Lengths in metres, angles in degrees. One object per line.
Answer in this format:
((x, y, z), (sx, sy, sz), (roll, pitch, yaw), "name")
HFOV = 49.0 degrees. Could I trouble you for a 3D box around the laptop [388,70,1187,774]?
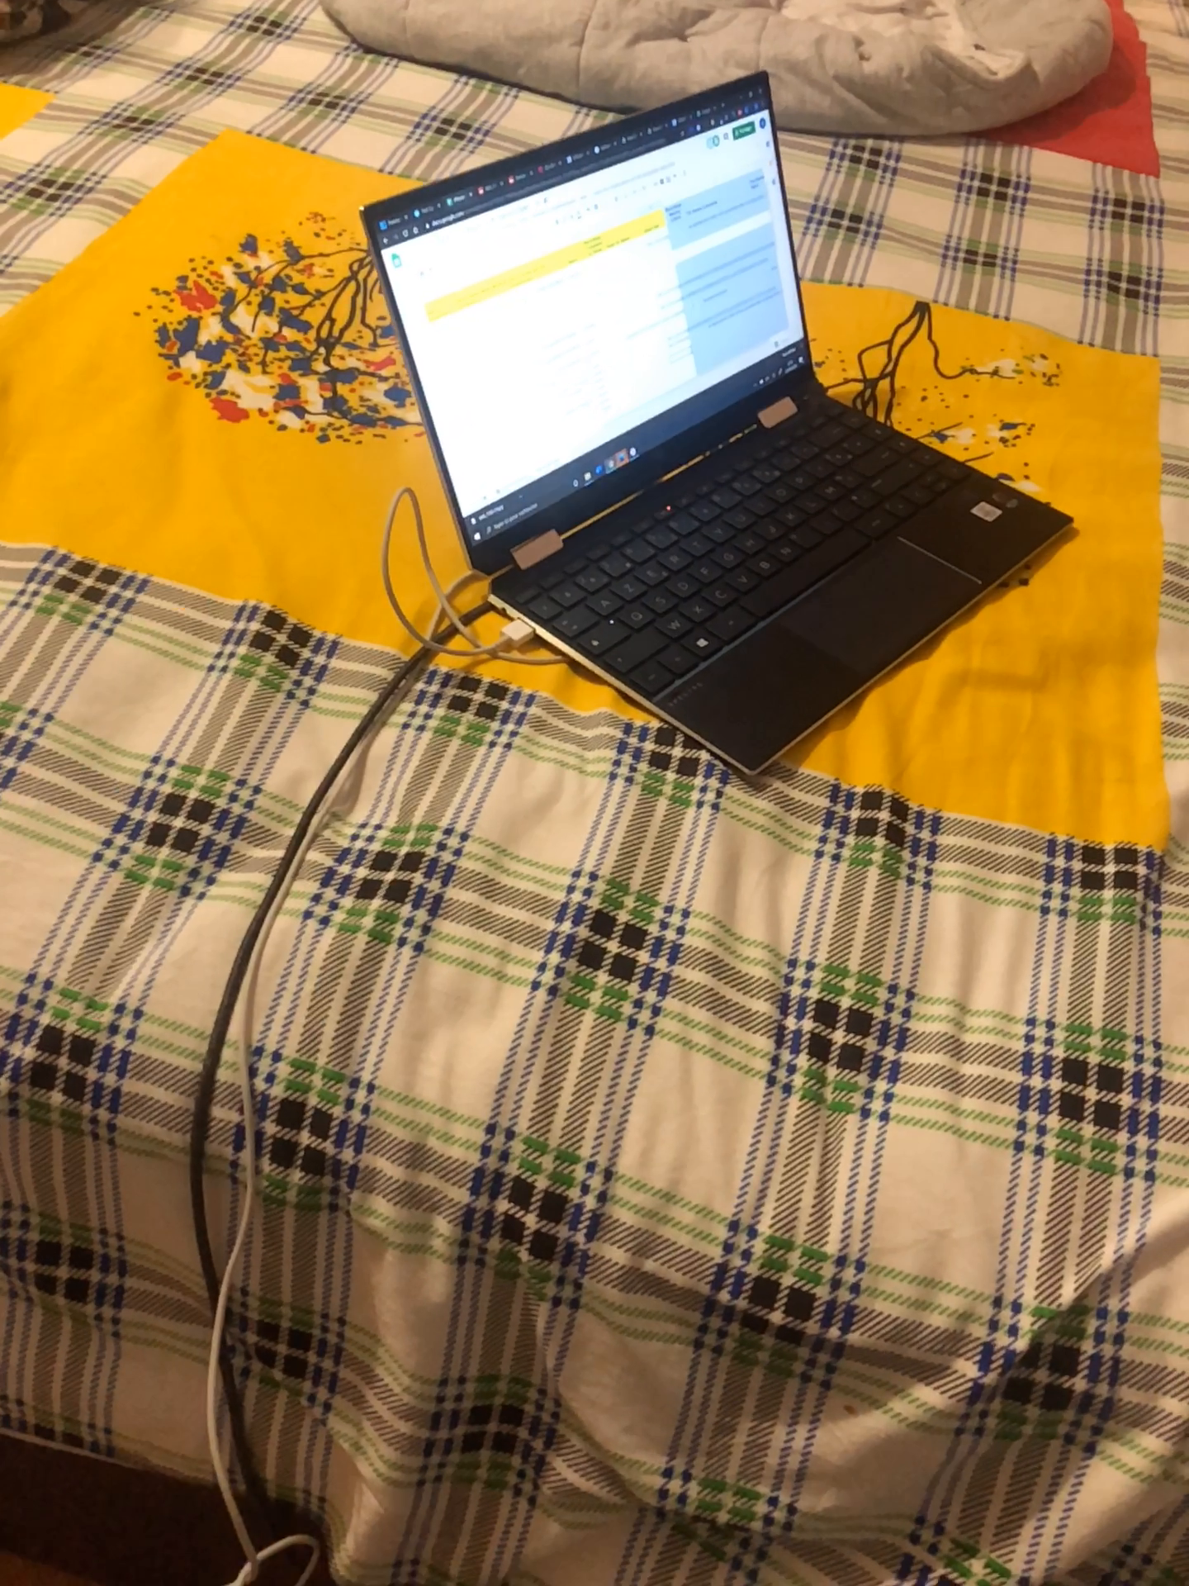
((0.086, -0.203, 0.652), (0.275, 0.158, 0.254), (-35, 59, -29), "laptop")
